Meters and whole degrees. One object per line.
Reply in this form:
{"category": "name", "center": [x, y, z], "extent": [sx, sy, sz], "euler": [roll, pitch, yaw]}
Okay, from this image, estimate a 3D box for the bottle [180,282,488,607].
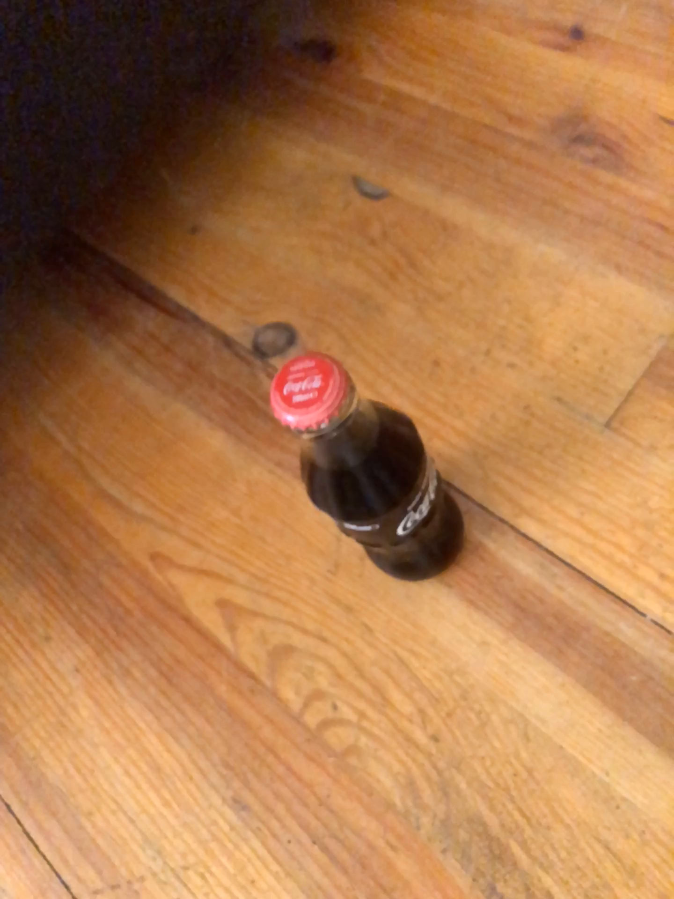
{"category": "bottle", "center": [0.013, 0.010, 0.316], "extent": [0.060, 0.170, 0.060], "euler": [-7, 66, 16]}
